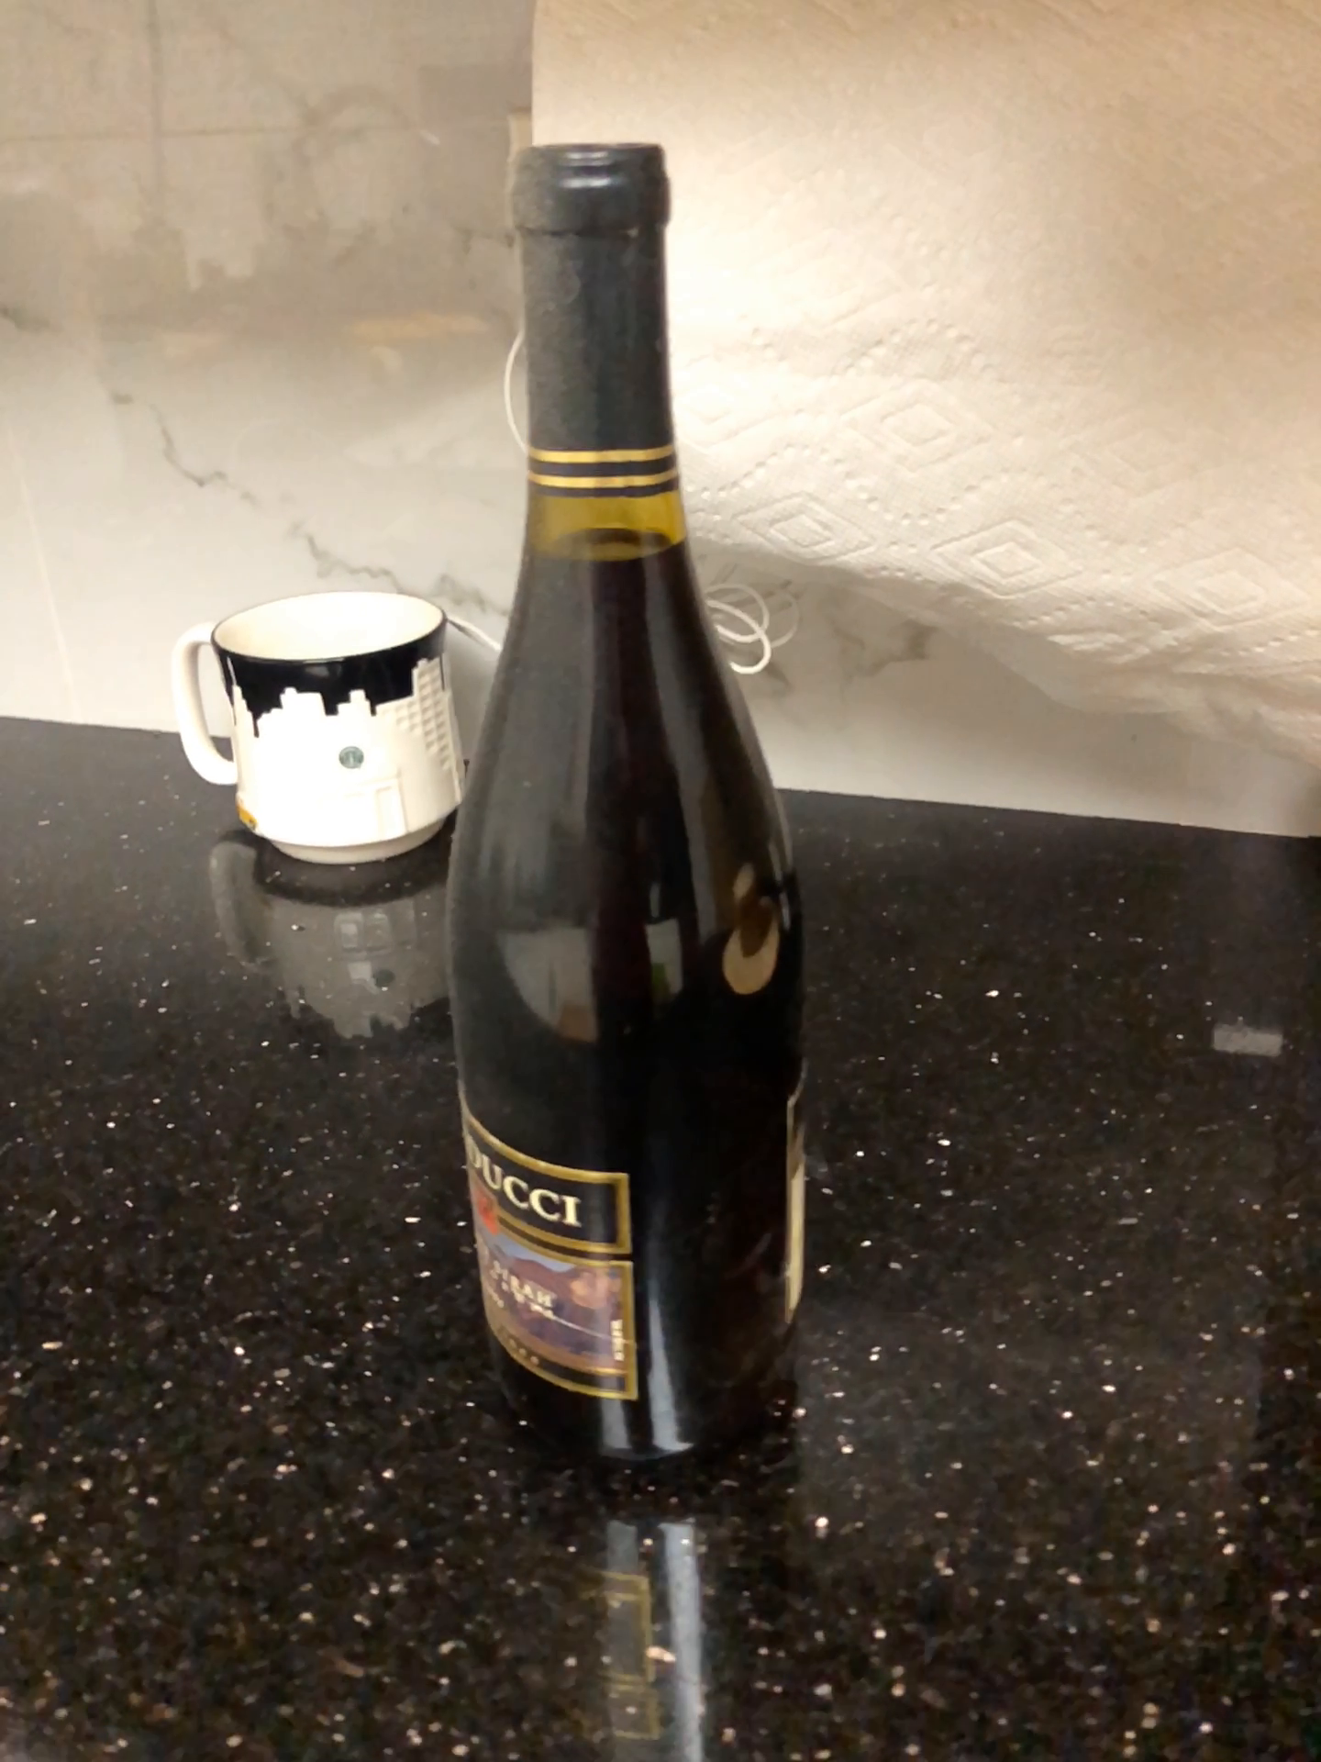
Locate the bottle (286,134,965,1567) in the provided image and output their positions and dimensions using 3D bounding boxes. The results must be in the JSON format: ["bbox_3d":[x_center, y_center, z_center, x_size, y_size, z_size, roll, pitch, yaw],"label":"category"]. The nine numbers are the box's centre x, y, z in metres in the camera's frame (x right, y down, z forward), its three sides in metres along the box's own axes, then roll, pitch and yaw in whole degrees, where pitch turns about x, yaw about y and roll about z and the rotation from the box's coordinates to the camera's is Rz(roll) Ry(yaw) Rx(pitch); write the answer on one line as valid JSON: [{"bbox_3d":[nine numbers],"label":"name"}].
[{"bbox_3d":[-0.005,0.000,0.331,0.090,0.298,0.090,-2,27,1],"label":"bottle"}]
